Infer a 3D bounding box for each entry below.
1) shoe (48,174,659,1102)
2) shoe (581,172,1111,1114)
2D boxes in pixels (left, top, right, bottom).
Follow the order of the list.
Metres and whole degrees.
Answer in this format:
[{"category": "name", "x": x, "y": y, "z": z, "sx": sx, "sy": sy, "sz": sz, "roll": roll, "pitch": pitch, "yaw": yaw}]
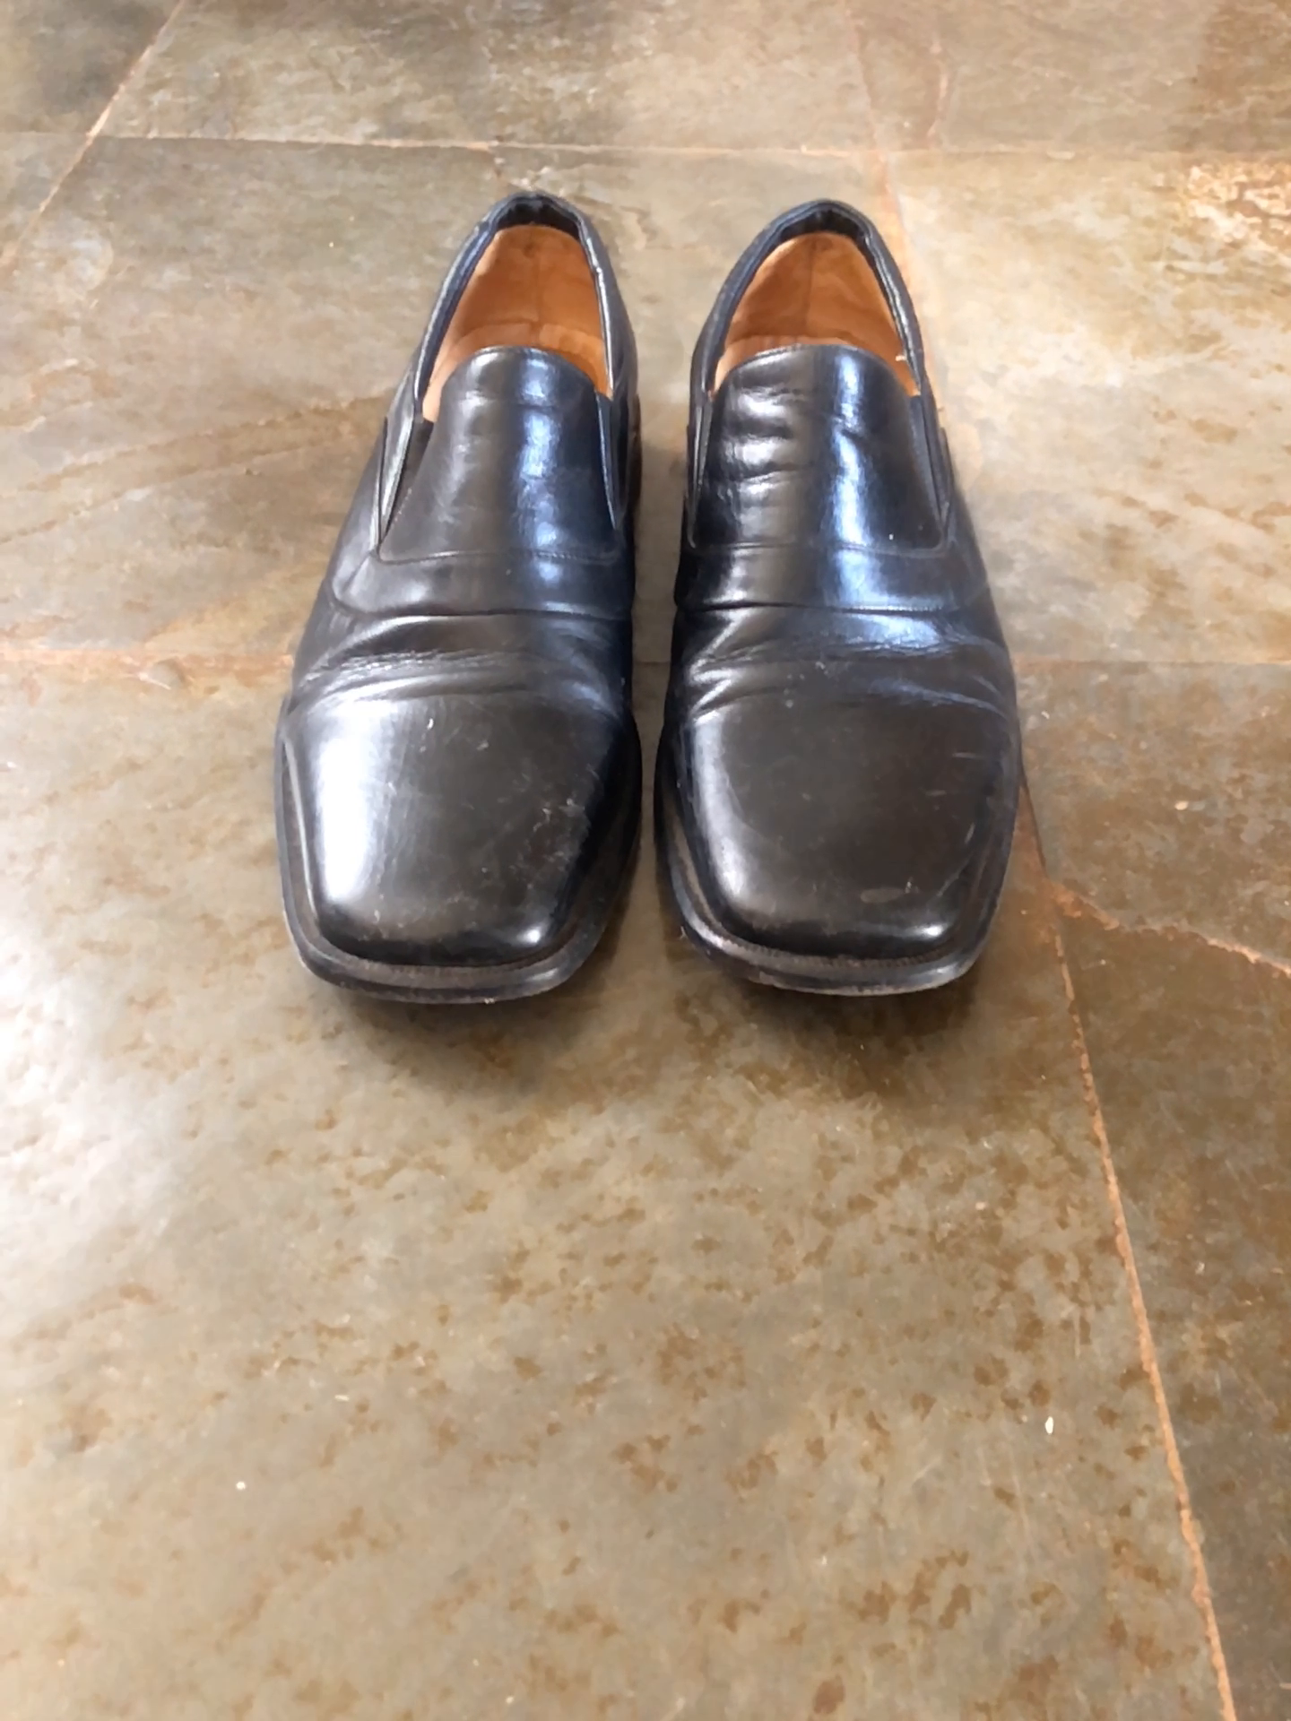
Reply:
[{"category": "shoe", "x": -0.056, "y": -0.082, "z": 0.411, "sx": 0.110, "sy": 0.109, "sz": 0.282, "roll": 2, "pitch": 47, "yaw": 1}, {"category": "shoe", "x": 0.044, "y": -0.080, "z": 0.406, "sx": 0.100, "sy": 0.109, "sz": 0.282, "roll": 2, "pitch": 47, "yaw": 1}]
